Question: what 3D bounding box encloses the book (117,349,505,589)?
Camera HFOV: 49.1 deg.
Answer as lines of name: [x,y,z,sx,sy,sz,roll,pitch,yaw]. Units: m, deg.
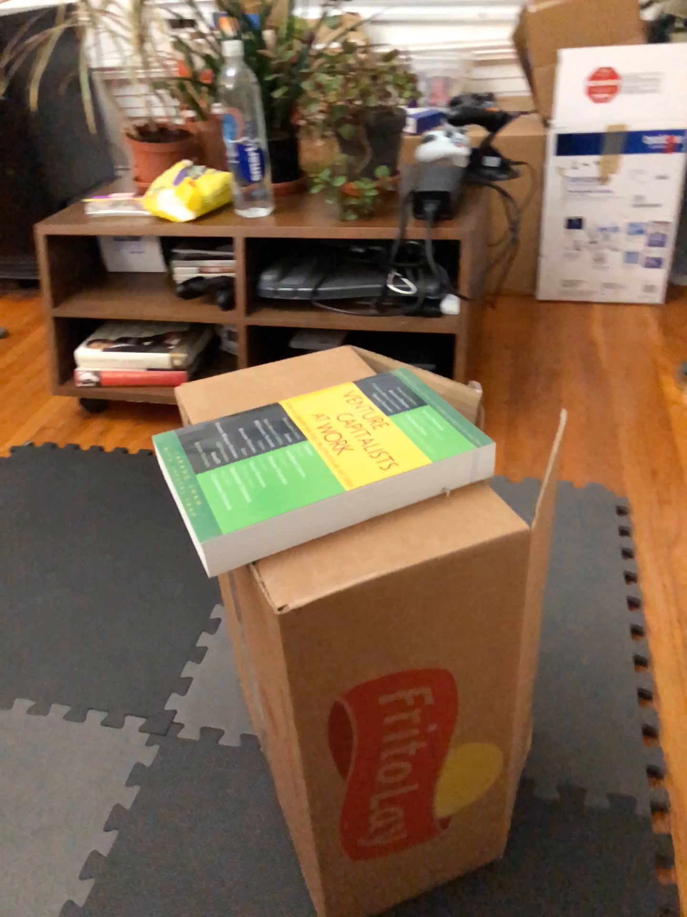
book: [-0.031,-0.006,0.588,0.260,0.040,0.161,-17,35,-16]
